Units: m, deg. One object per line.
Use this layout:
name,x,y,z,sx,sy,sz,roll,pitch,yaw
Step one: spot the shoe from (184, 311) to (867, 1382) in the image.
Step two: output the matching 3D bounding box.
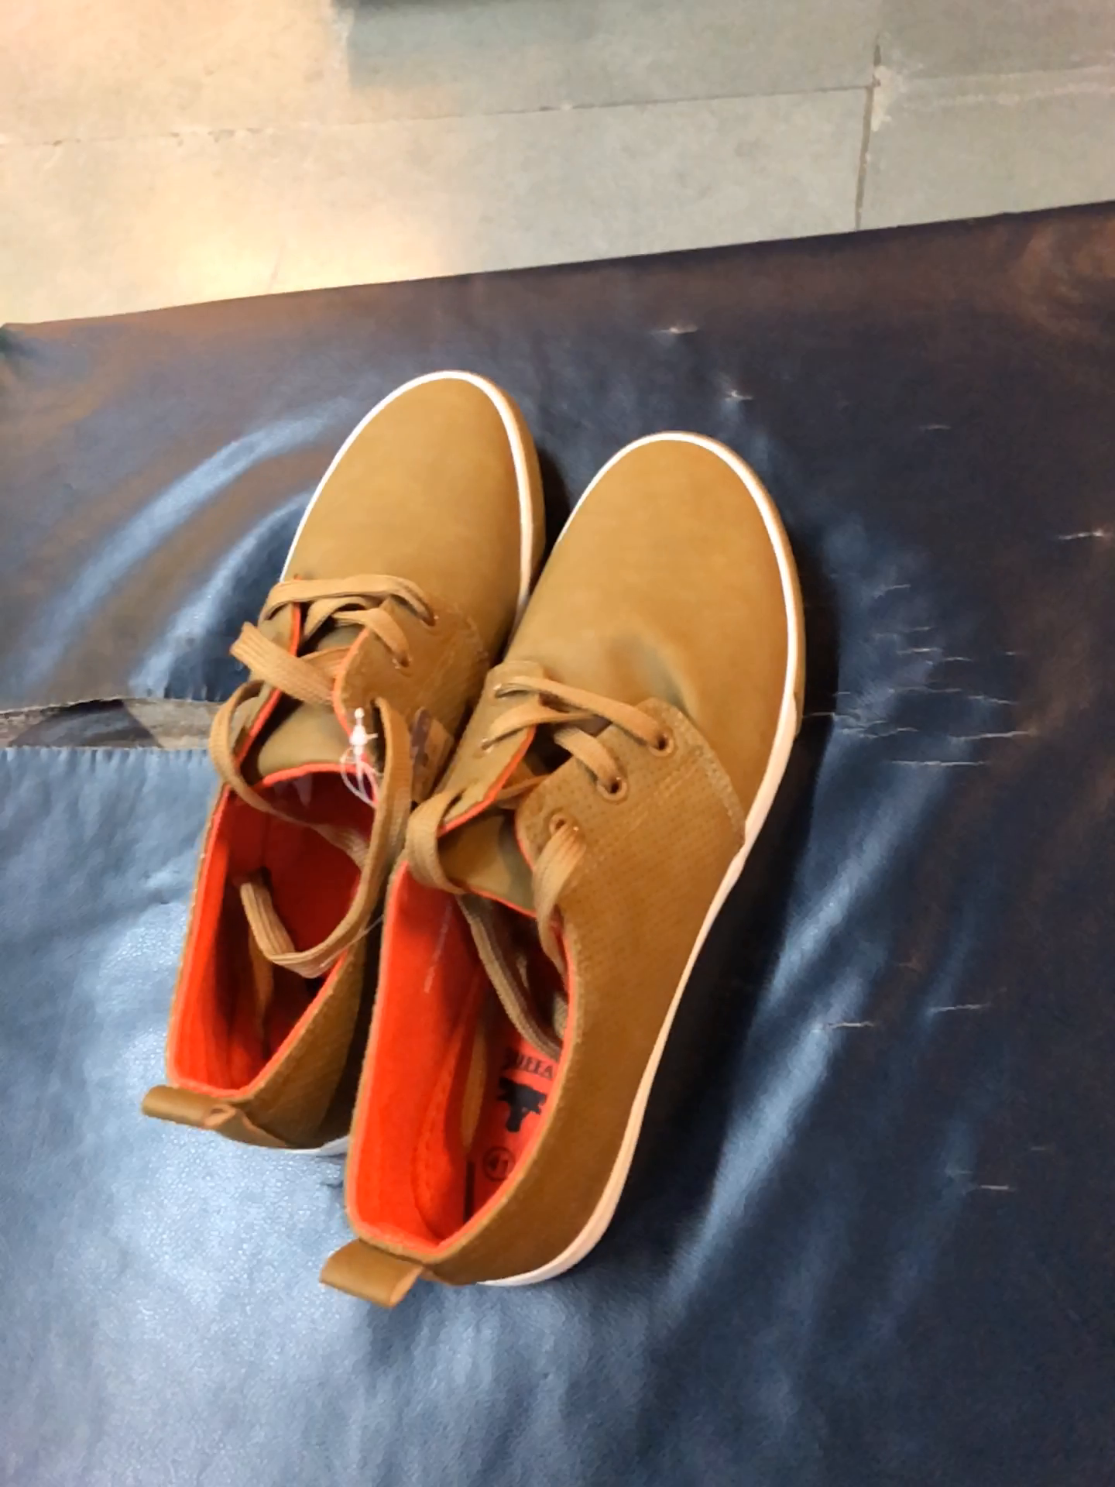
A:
shoe,0.009,0.019,0.345,0.095,0.091,0.261,13,72,19

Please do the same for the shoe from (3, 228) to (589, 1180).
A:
shoe,-0.062,-0.014,0.378,0.100,0.097,0.266,1,68,15
